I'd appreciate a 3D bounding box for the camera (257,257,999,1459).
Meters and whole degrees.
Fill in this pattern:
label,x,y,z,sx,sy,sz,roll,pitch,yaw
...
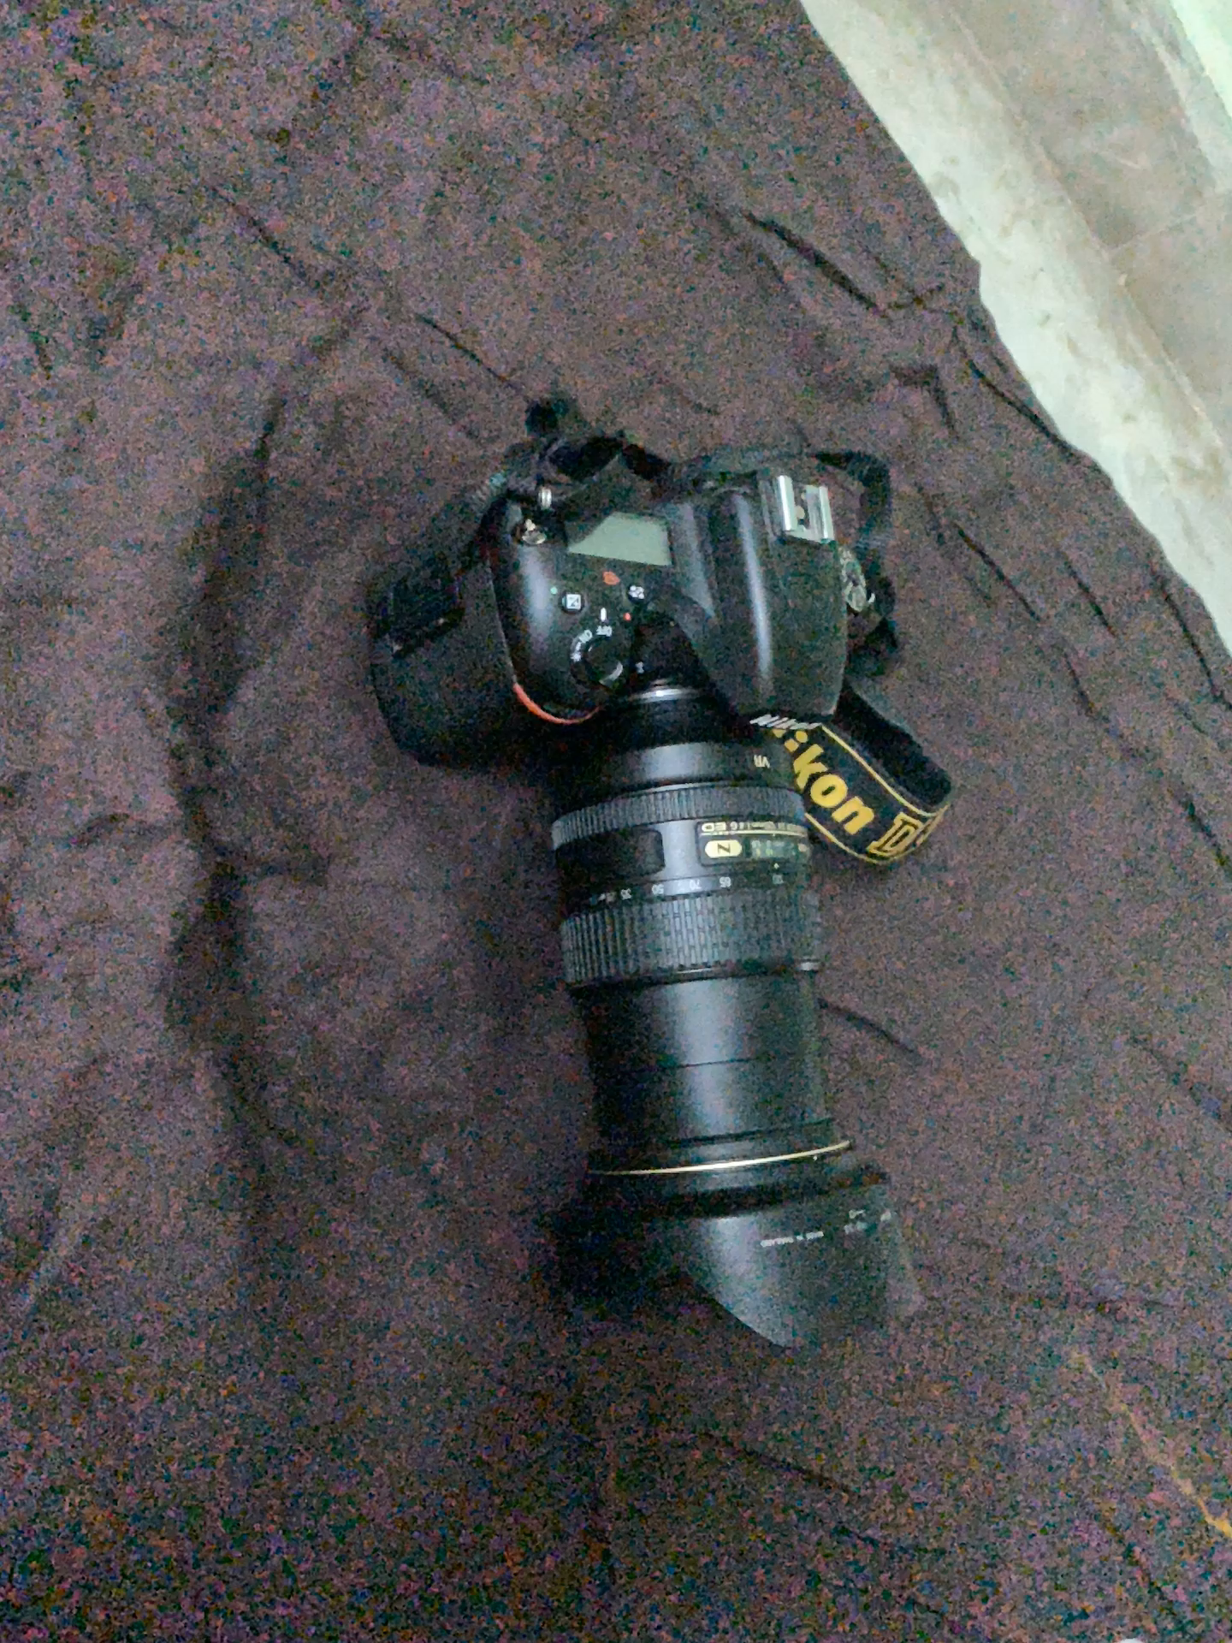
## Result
label,x,y,z,sx,sy,sz,roll,pitch,yaw
camera,0.005,0.007,0.381,0.162,0.100,0.278,-3,82,-42
